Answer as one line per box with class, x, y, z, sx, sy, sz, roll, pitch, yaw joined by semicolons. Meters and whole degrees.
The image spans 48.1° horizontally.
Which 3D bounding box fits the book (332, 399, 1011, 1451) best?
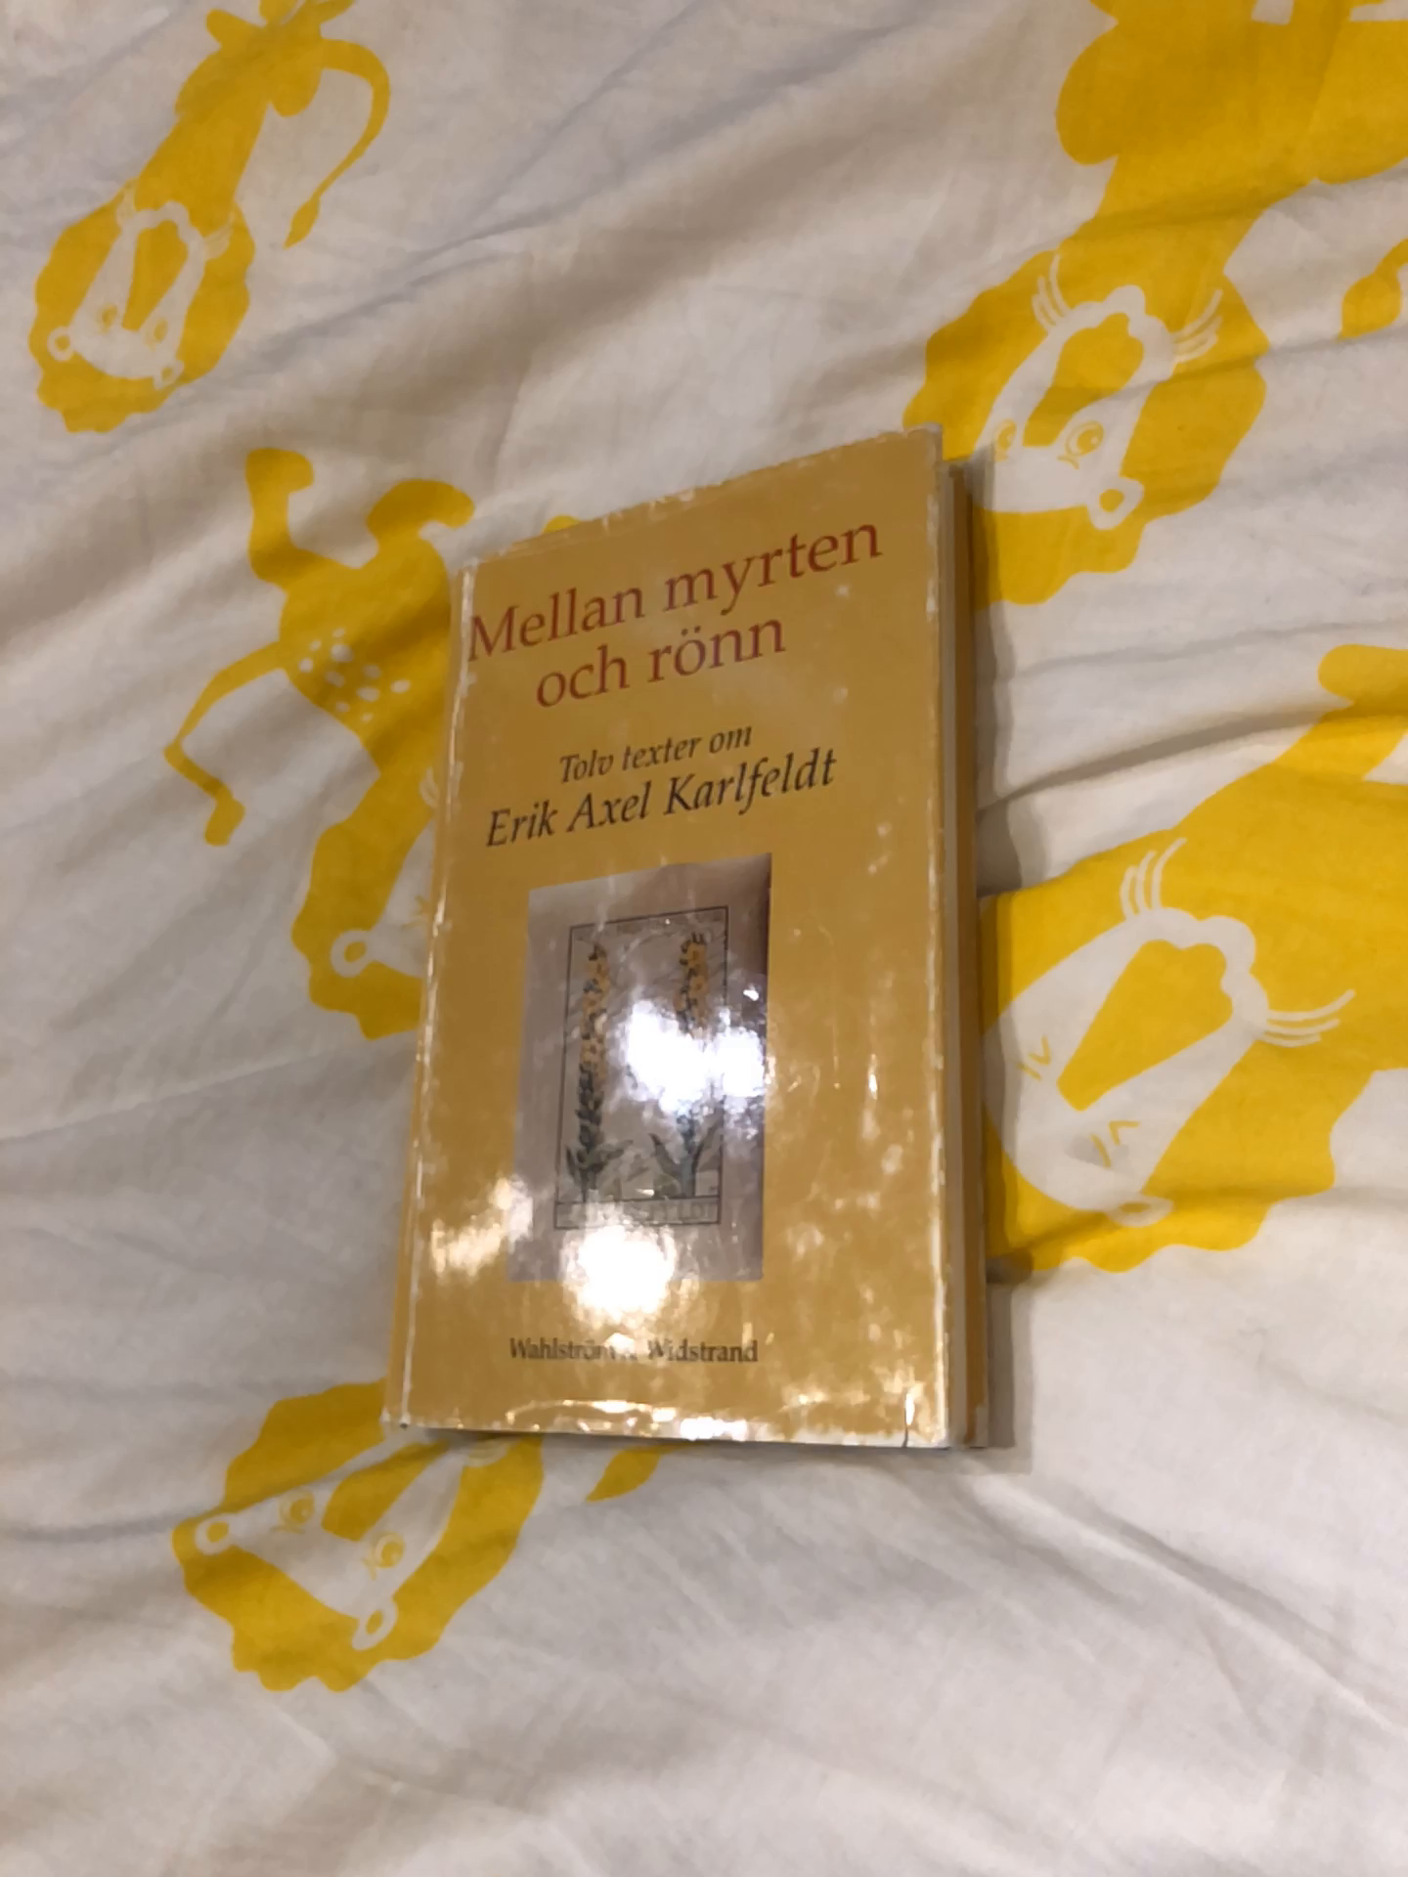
book;-0.007;-0.001;0.351;0.141;0.030;0.215;-8;69;28
